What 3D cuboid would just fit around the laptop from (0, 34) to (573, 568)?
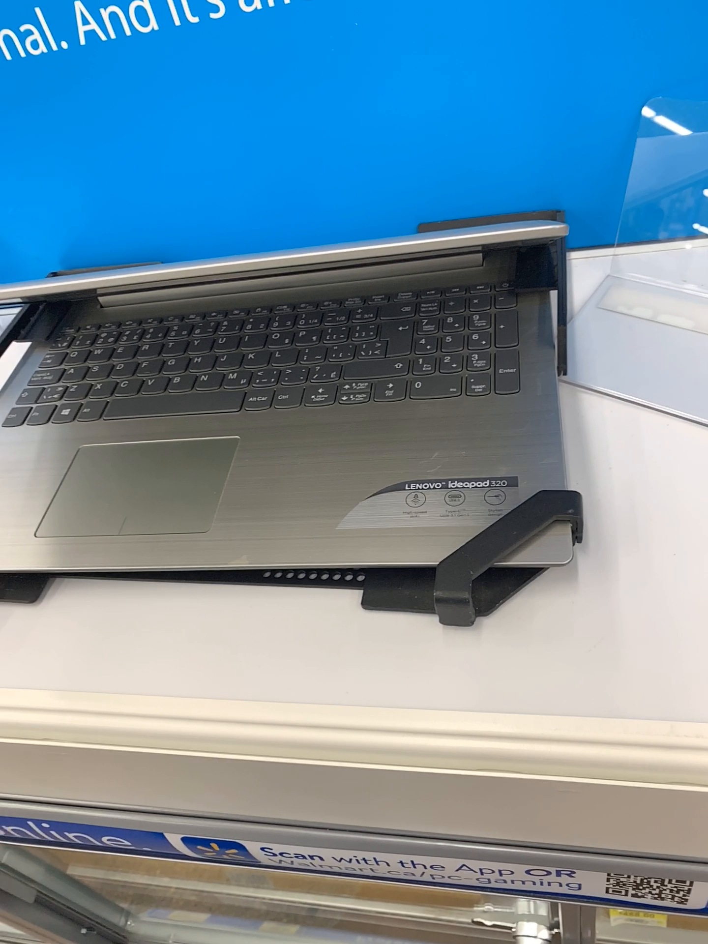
[{"bbox_3d":[-0.074,-0.080,0.350,0.324,0.110,0.220,-3,48,13],"label":"laptop"}]
